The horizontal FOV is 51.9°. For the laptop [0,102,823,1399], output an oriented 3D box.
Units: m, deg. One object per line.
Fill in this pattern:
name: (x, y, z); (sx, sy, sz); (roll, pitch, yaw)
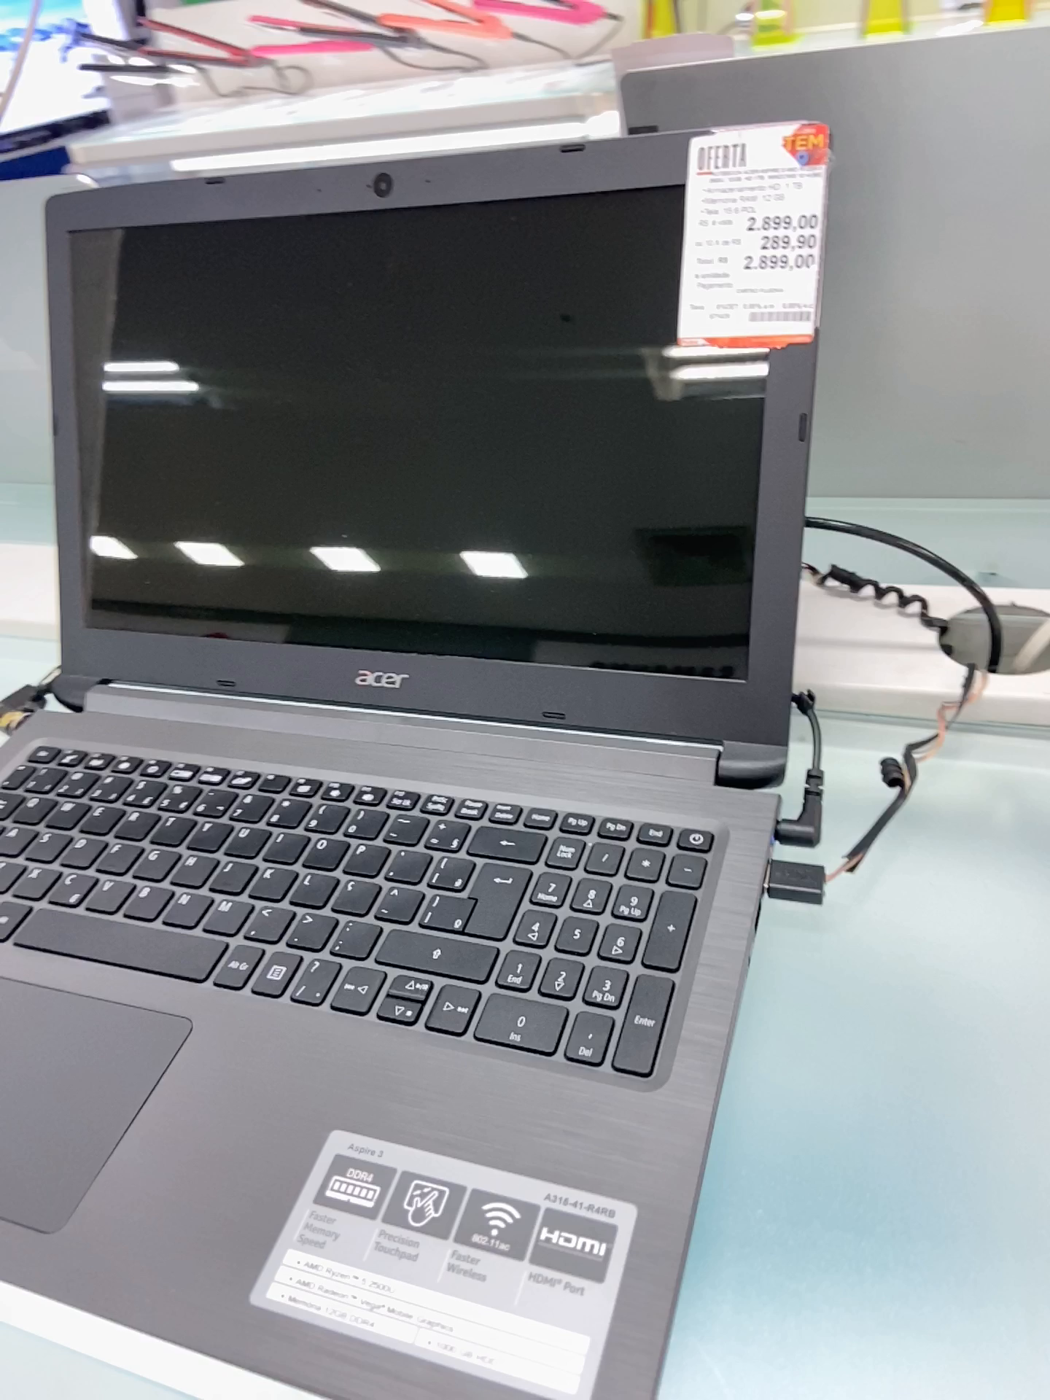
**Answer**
laptop: (-0.097, -0.033, 0.362); (0.340, 0.194, 0.355); (5, 39, 21)
